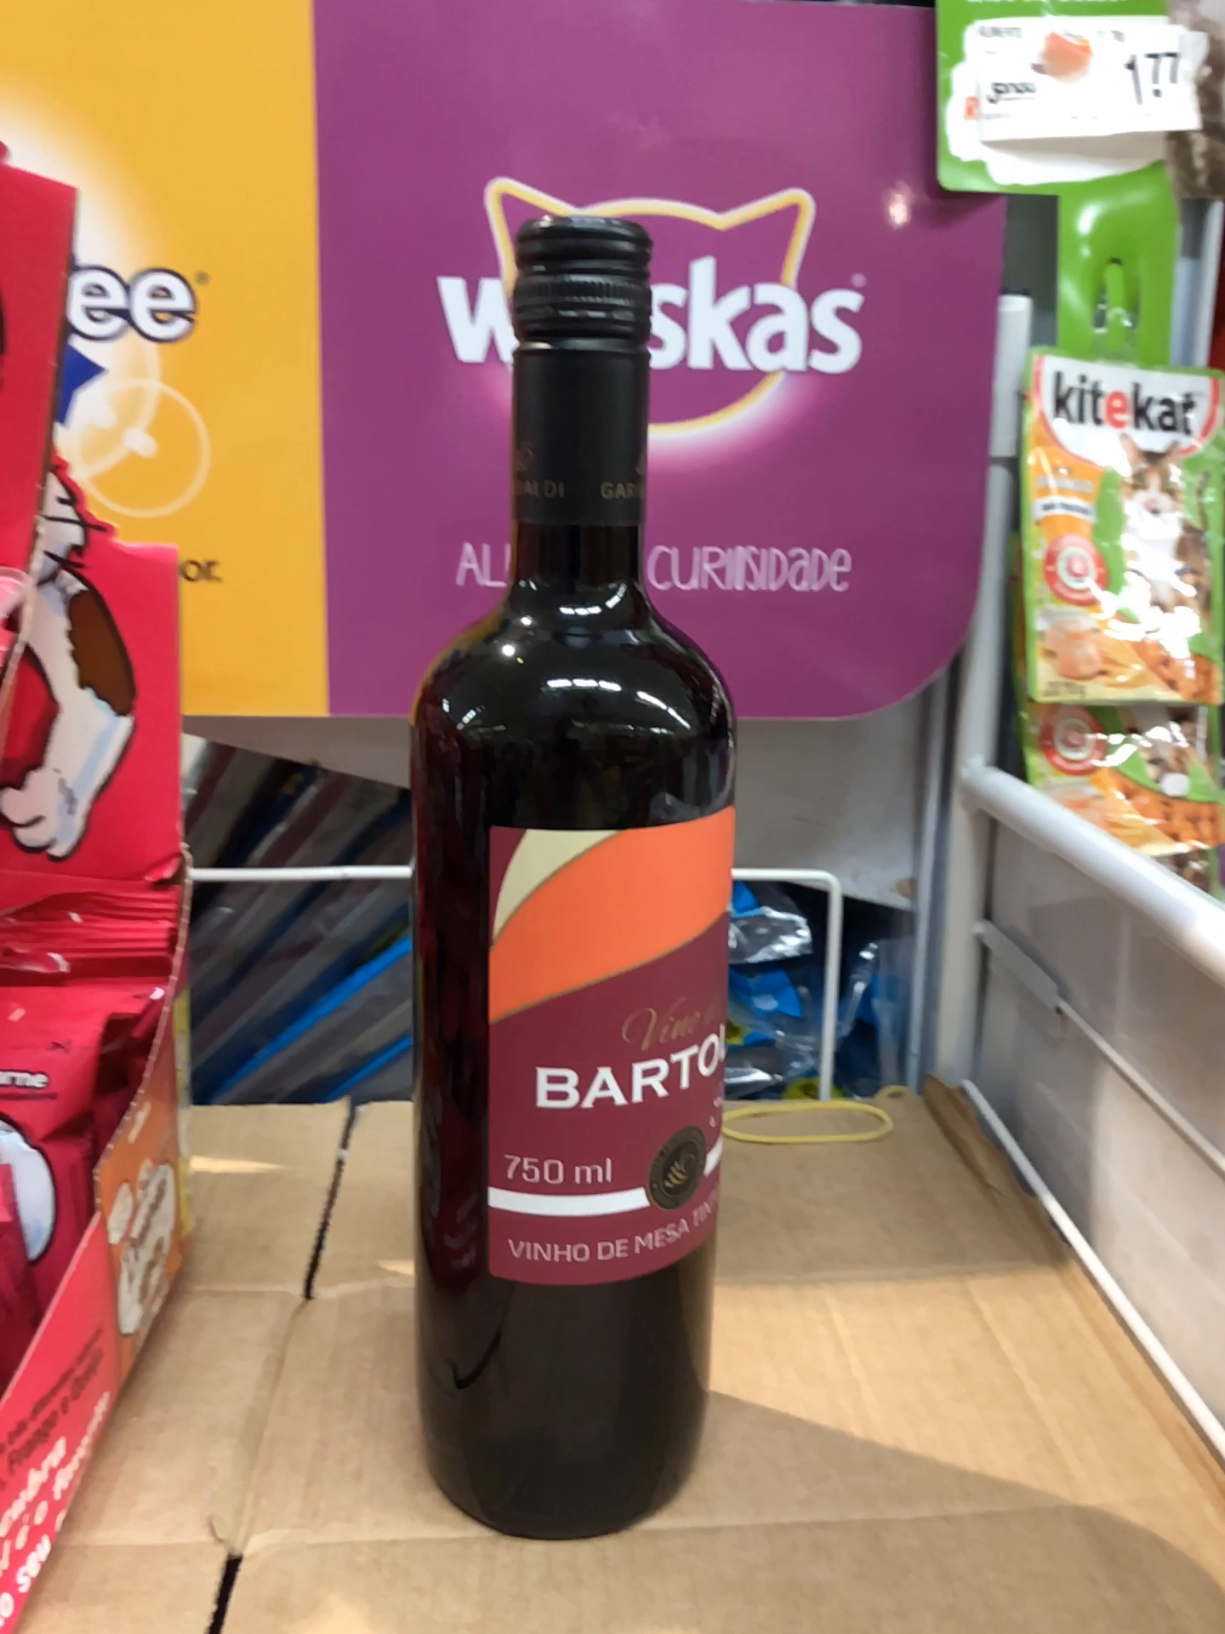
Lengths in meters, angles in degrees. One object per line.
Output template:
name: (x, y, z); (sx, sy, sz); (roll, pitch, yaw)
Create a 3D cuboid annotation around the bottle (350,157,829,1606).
bottle: (-0.006, 0.019, 0.318); (0.080, 0.299, 0.060); (-11, 18, -40)
